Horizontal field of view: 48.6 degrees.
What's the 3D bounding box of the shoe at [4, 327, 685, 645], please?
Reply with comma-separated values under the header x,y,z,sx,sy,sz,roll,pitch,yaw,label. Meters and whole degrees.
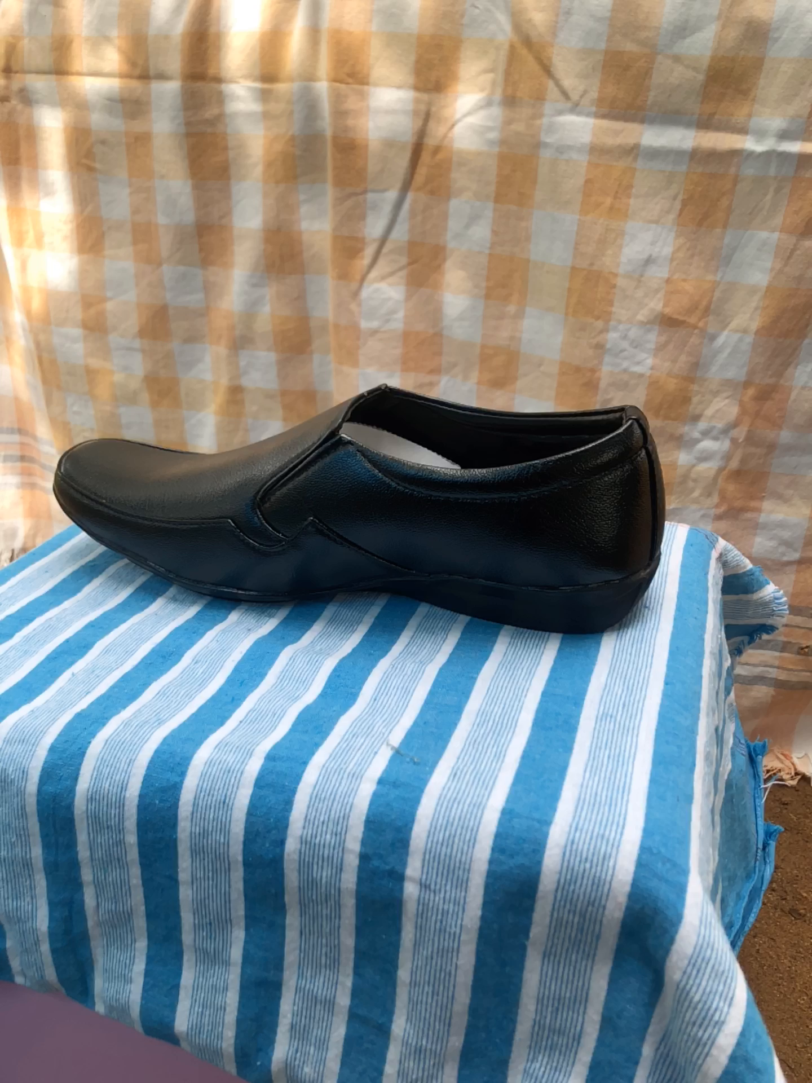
x,y,z,sx,sy,sz,roll,pitch,yaw,label
-0.026,-0.036,0.450,0.300,0.109,0.101,5,26,11,shoe
